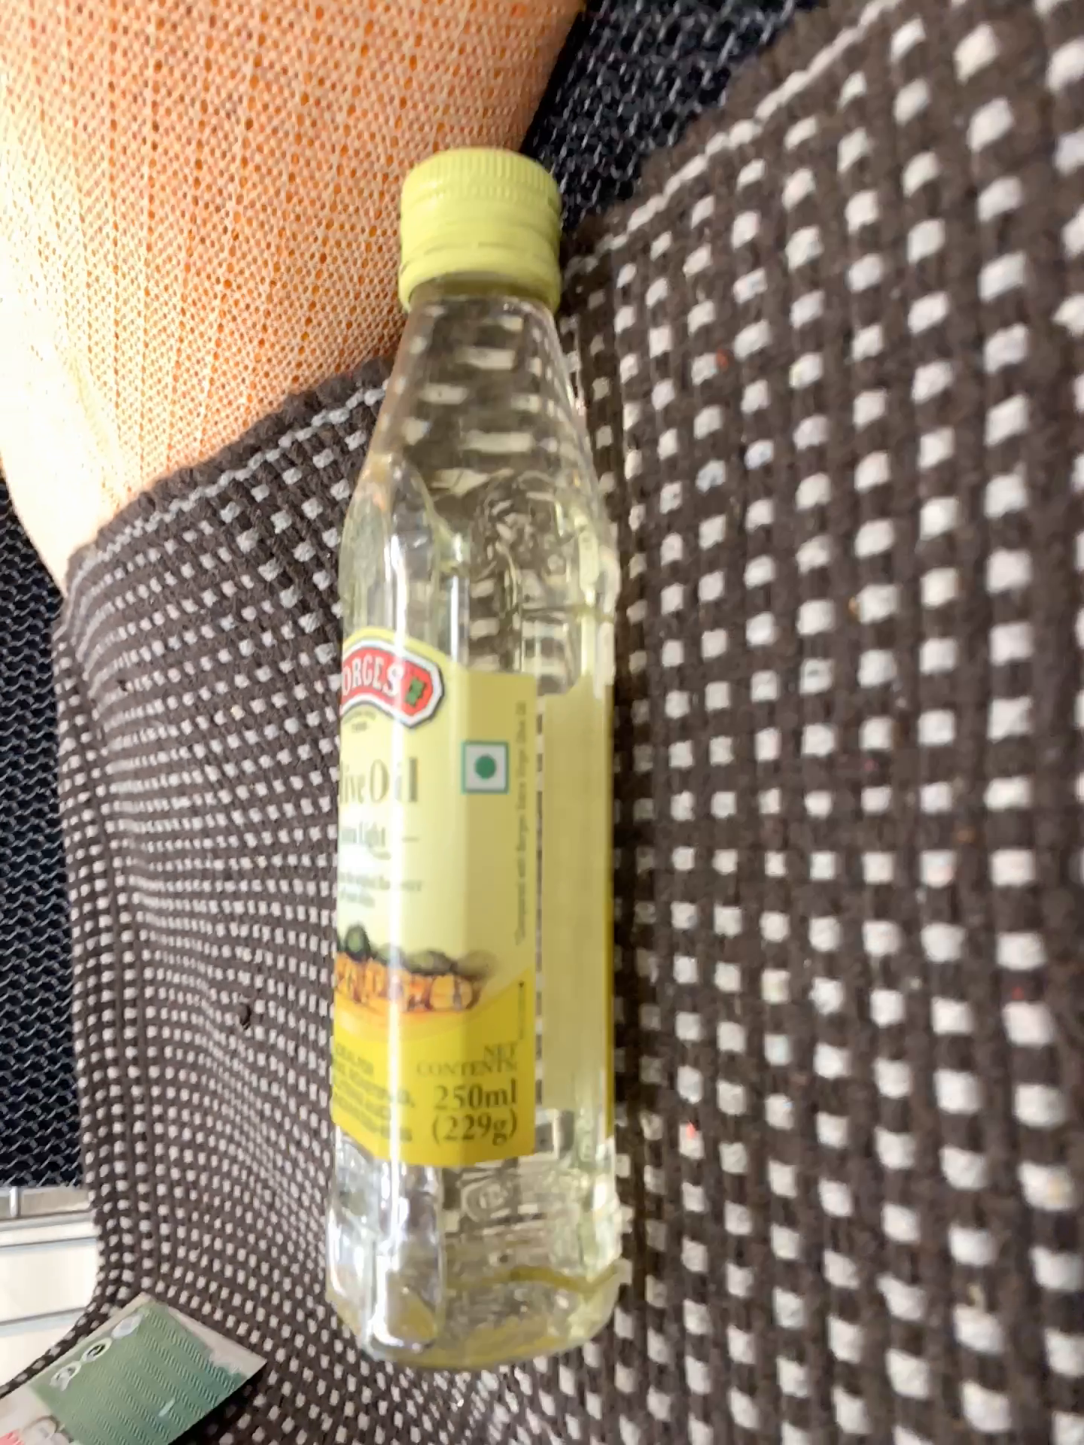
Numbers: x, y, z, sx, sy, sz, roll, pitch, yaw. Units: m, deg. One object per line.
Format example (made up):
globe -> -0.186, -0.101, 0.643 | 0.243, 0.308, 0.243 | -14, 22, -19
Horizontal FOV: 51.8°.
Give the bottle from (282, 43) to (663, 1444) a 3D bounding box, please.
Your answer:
bottle -> -0.015, 0.003, 0.195 | 0.060, 0.040, 0.200 | 0, 88, 60
